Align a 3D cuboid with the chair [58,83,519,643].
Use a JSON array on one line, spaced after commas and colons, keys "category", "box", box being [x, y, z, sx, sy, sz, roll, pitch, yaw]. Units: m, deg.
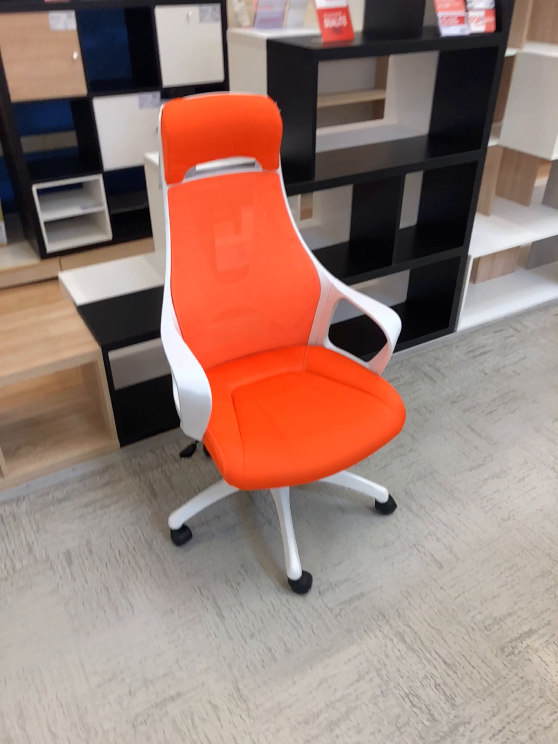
[{"category": "chair", "box": [-0.035, -0.078, 1.546, 0.682, 1.053, 0.752, -16, 37, -22]}]
